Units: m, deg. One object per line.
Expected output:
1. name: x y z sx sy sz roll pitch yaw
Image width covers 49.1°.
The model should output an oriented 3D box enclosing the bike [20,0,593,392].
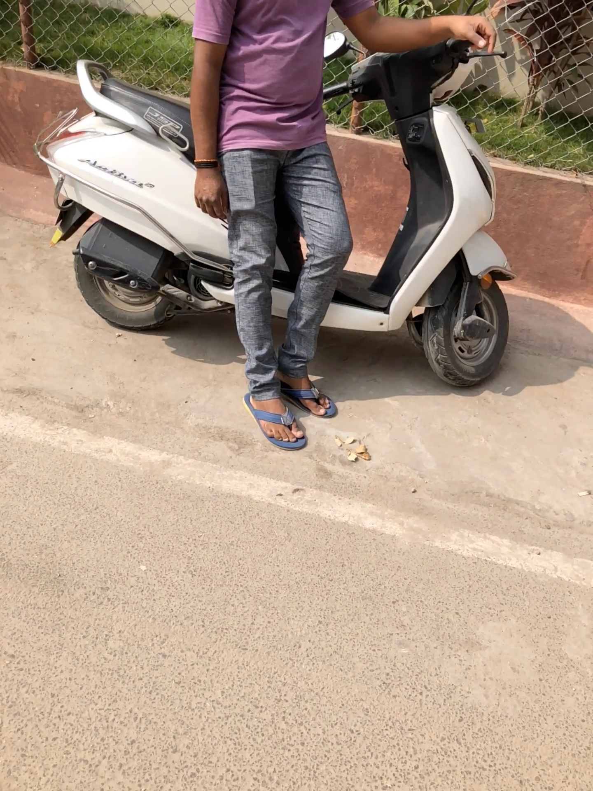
1. bike: 0.035 -0.712 2.289 1.551 1.112 0.622 5 36 -3
